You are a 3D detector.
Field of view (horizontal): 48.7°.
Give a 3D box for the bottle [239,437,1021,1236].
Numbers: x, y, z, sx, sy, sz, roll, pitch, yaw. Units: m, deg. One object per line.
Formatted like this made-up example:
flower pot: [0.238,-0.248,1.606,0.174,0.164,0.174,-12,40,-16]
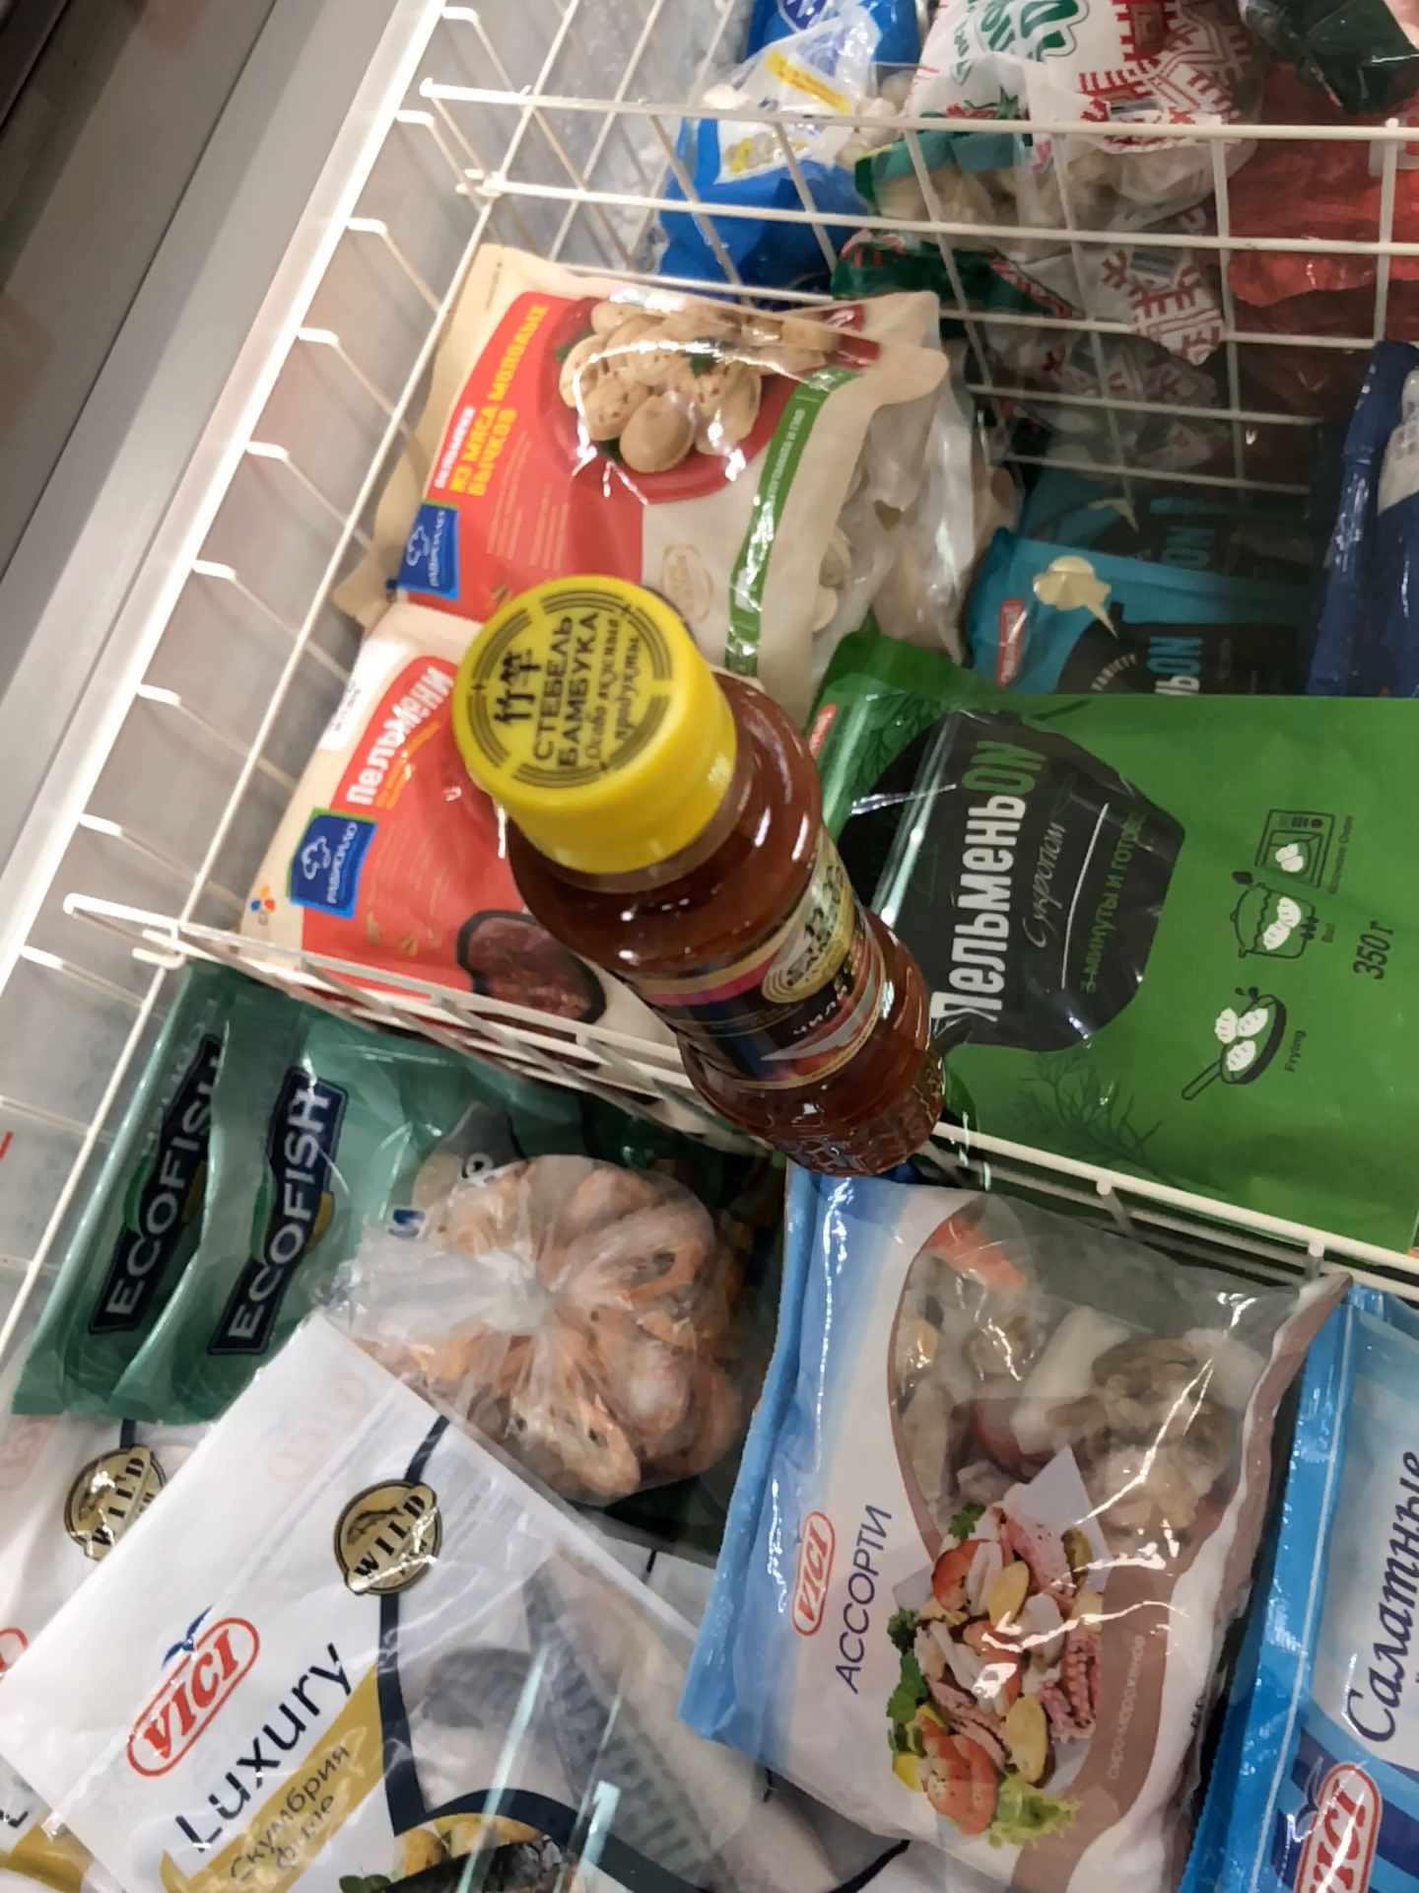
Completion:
bottle: [0.008,0.000,0.274,0.060,0.199,0.060,-5,71,15]
